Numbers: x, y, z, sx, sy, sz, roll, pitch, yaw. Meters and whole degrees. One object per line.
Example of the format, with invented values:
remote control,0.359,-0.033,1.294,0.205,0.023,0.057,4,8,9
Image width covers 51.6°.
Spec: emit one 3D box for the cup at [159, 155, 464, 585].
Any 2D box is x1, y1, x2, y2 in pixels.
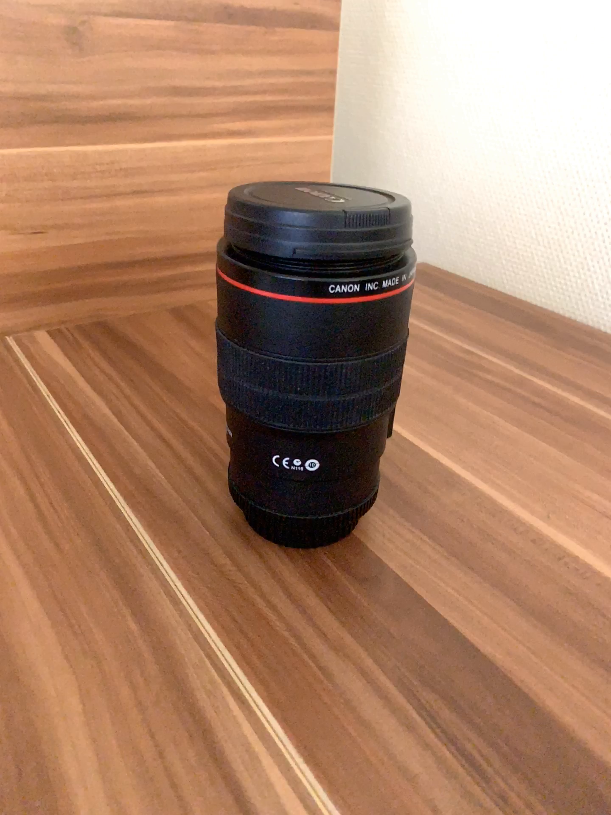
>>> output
cup,0.000,-0.019,0.255,0.080,0.139,0.070,24,36,32
